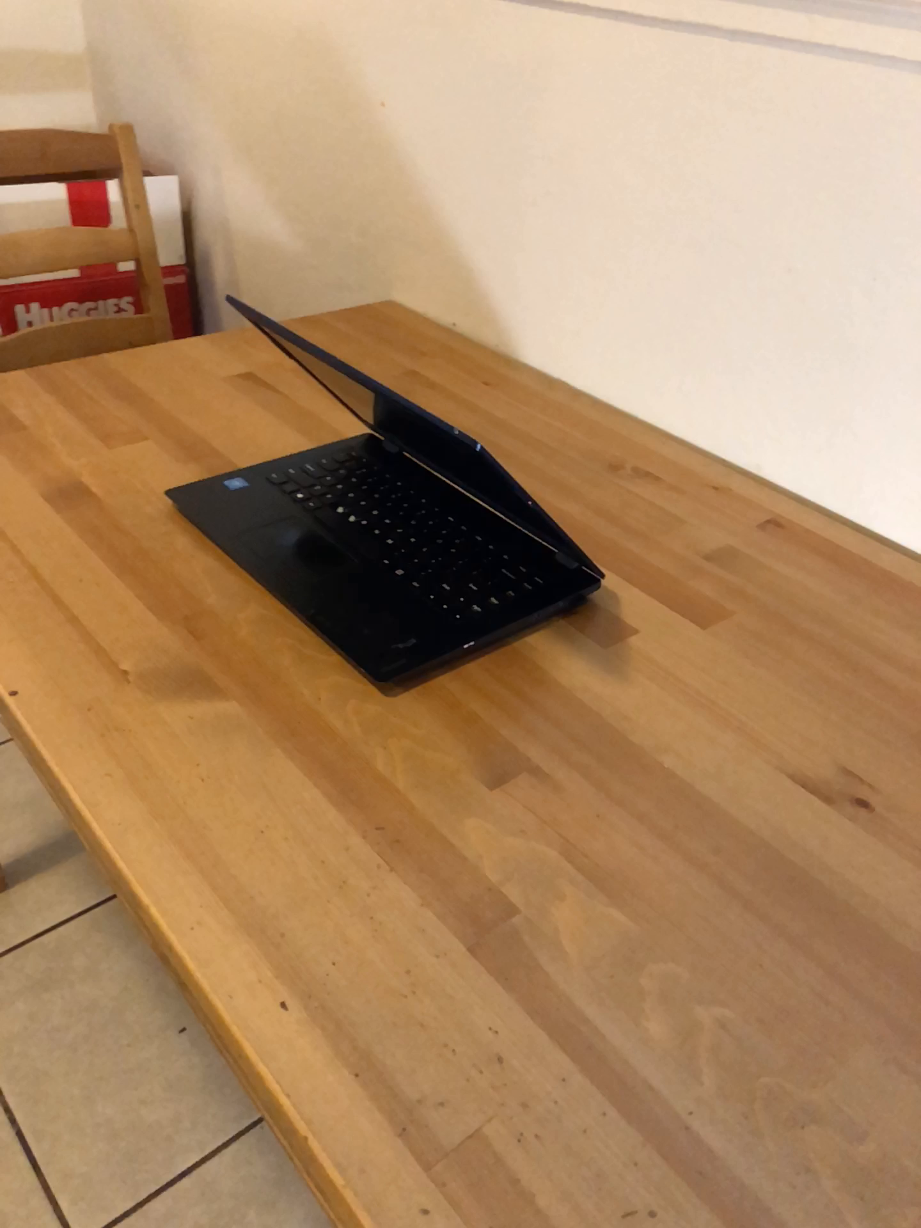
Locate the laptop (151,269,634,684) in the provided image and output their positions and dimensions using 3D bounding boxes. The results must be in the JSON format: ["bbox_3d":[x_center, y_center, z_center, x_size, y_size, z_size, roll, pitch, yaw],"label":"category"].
[{"bbox_3d":[-0.065,-0.131,0.807,0.216,0.161,0.318,-24,45,-33],"label":"laptop"}]
